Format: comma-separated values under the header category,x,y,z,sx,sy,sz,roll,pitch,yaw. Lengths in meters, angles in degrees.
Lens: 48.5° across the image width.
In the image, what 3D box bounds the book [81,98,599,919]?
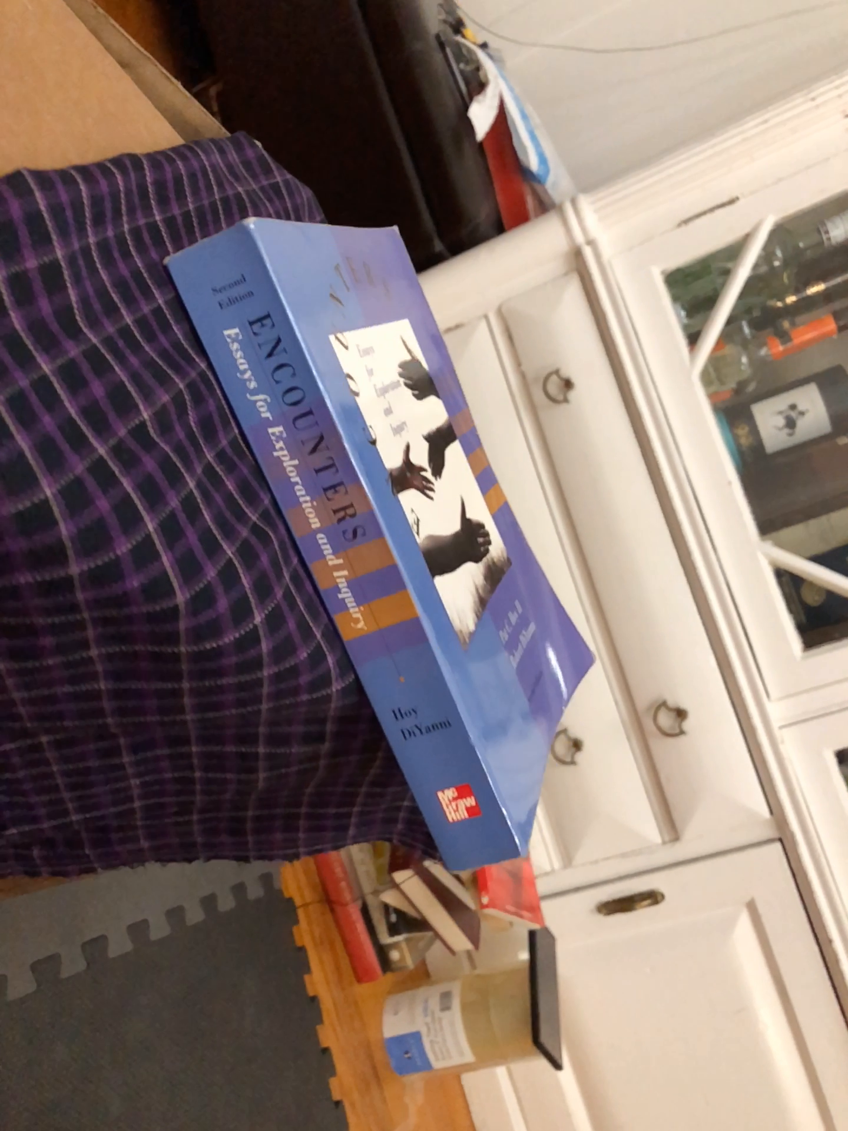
category,x,y,z,sx,sy,sz,roll,pitch,yaw
book,-0.001,-0.036,0.372,0.260,0.040,0.201,64,19,-15
